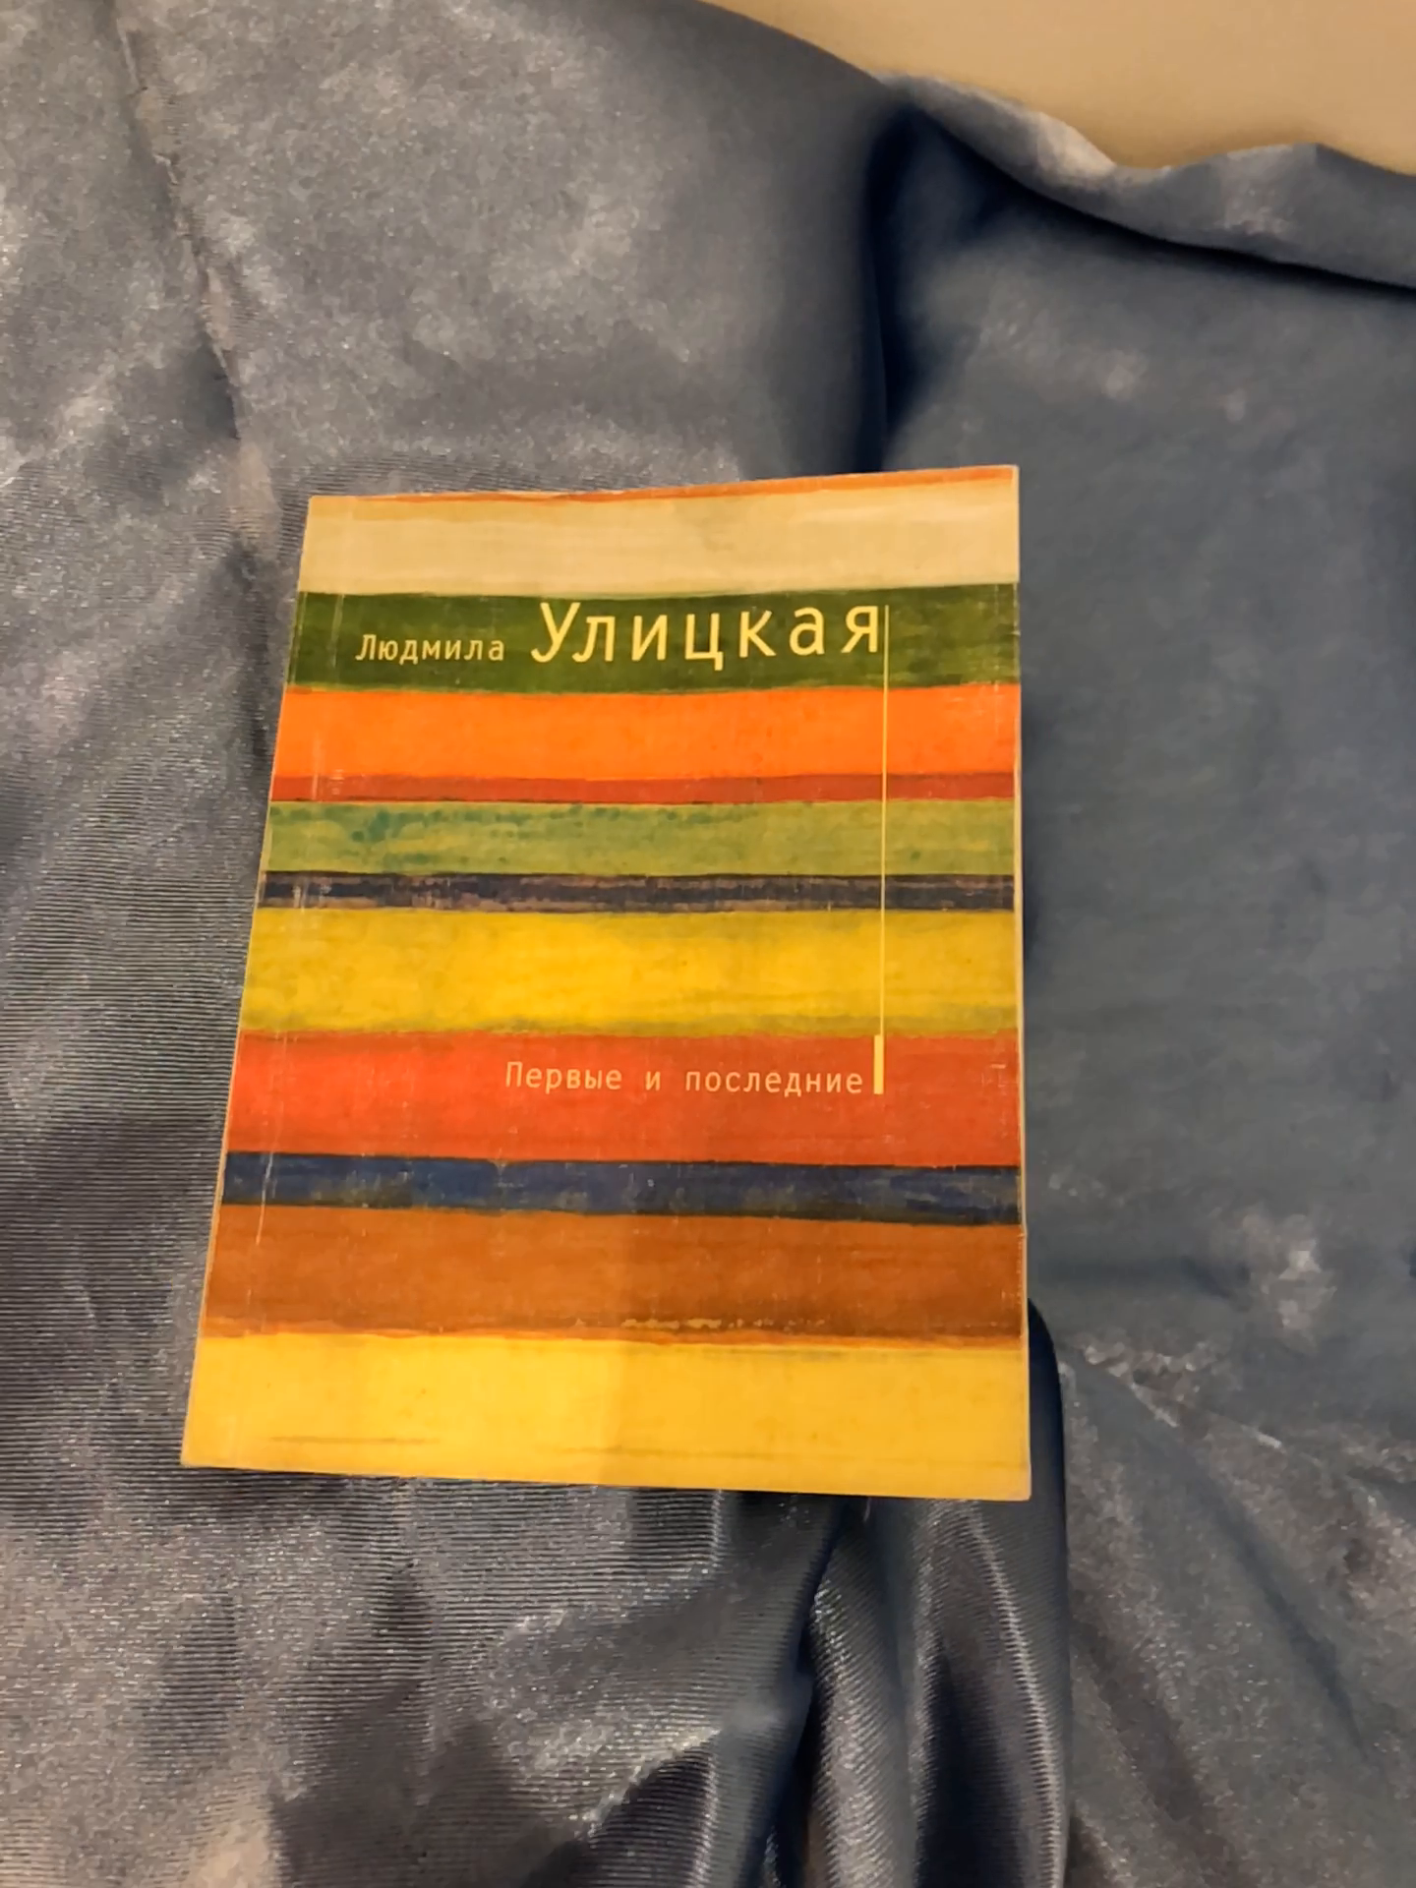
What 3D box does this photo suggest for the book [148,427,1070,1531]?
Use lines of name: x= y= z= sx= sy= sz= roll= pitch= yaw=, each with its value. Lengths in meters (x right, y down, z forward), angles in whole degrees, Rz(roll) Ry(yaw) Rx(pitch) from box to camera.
book: x=-0.011 y=0.000 z=0.252 sx=0.129 sy=0.026 sz=0.167 roll=0 pitch=74 yaw=9
